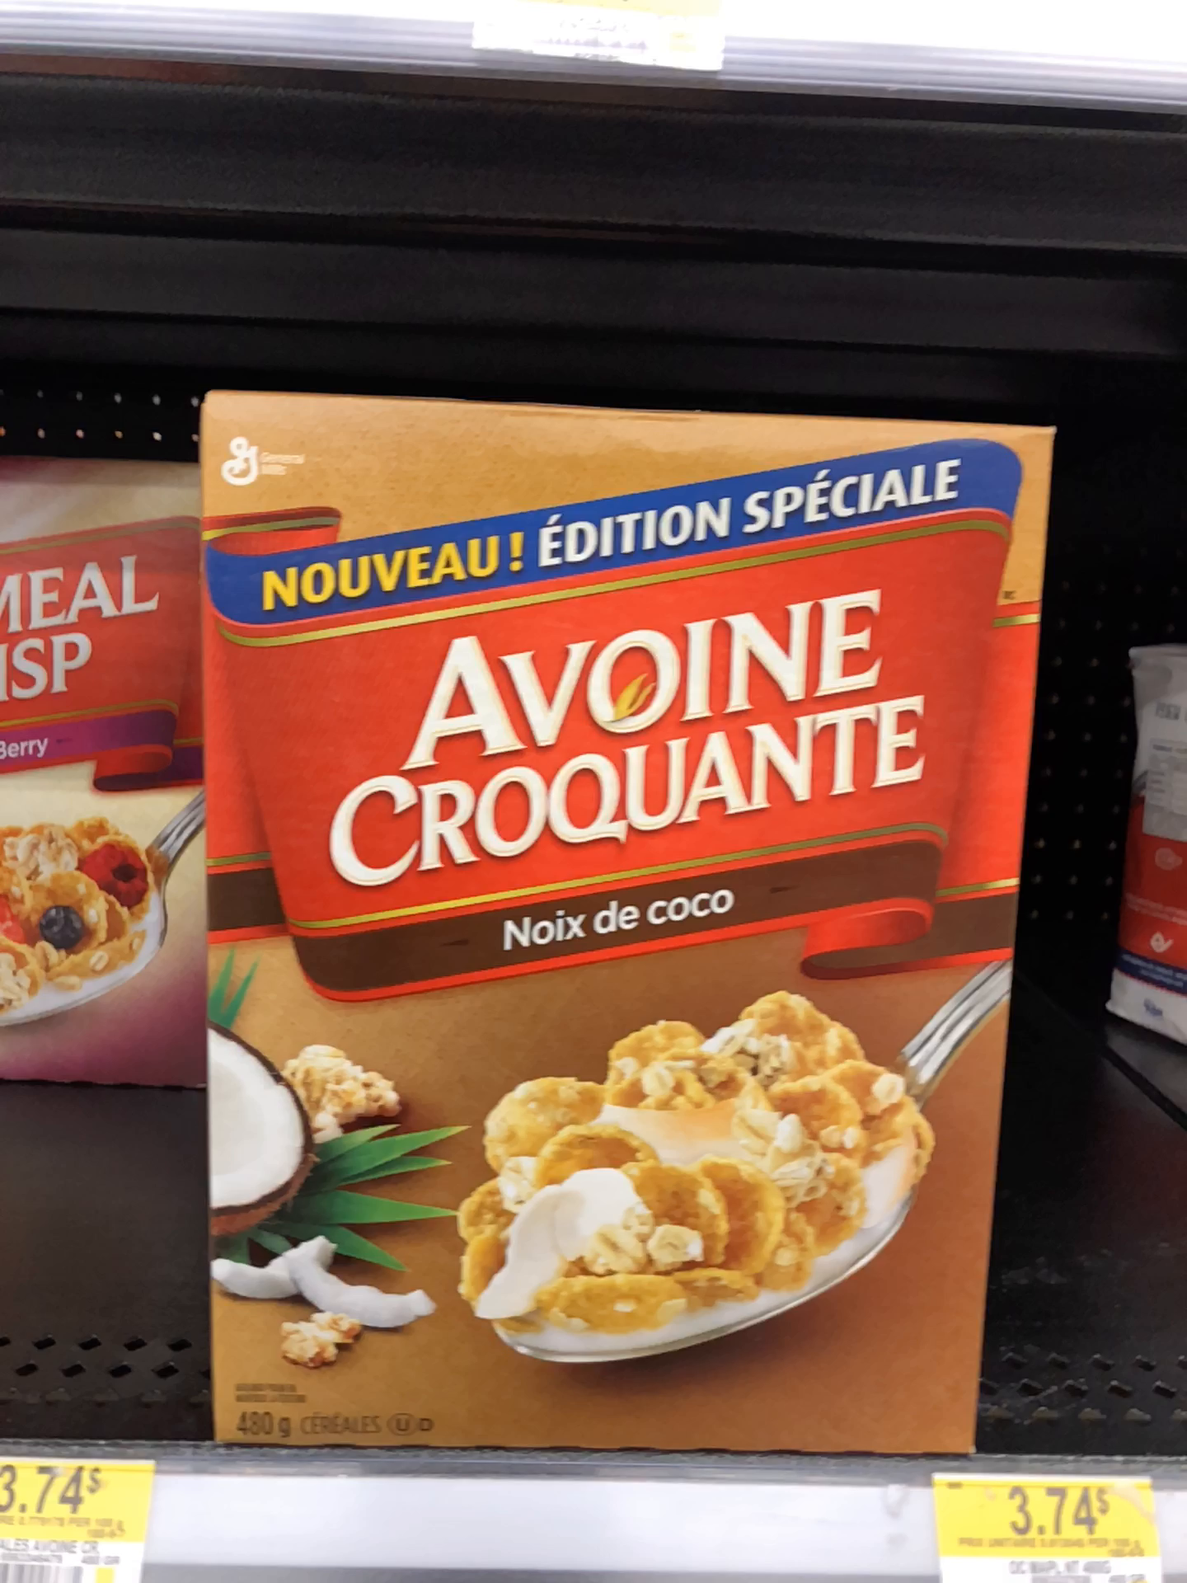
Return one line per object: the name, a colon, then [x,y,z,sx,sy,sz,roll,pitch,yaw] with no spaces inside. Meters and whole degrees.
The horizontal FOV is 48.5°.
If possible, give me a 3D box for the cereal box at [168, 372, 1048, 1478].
cereal box: [-0.002,0.038,0.344,0.200,0.269,0.050,2,9,-2]
